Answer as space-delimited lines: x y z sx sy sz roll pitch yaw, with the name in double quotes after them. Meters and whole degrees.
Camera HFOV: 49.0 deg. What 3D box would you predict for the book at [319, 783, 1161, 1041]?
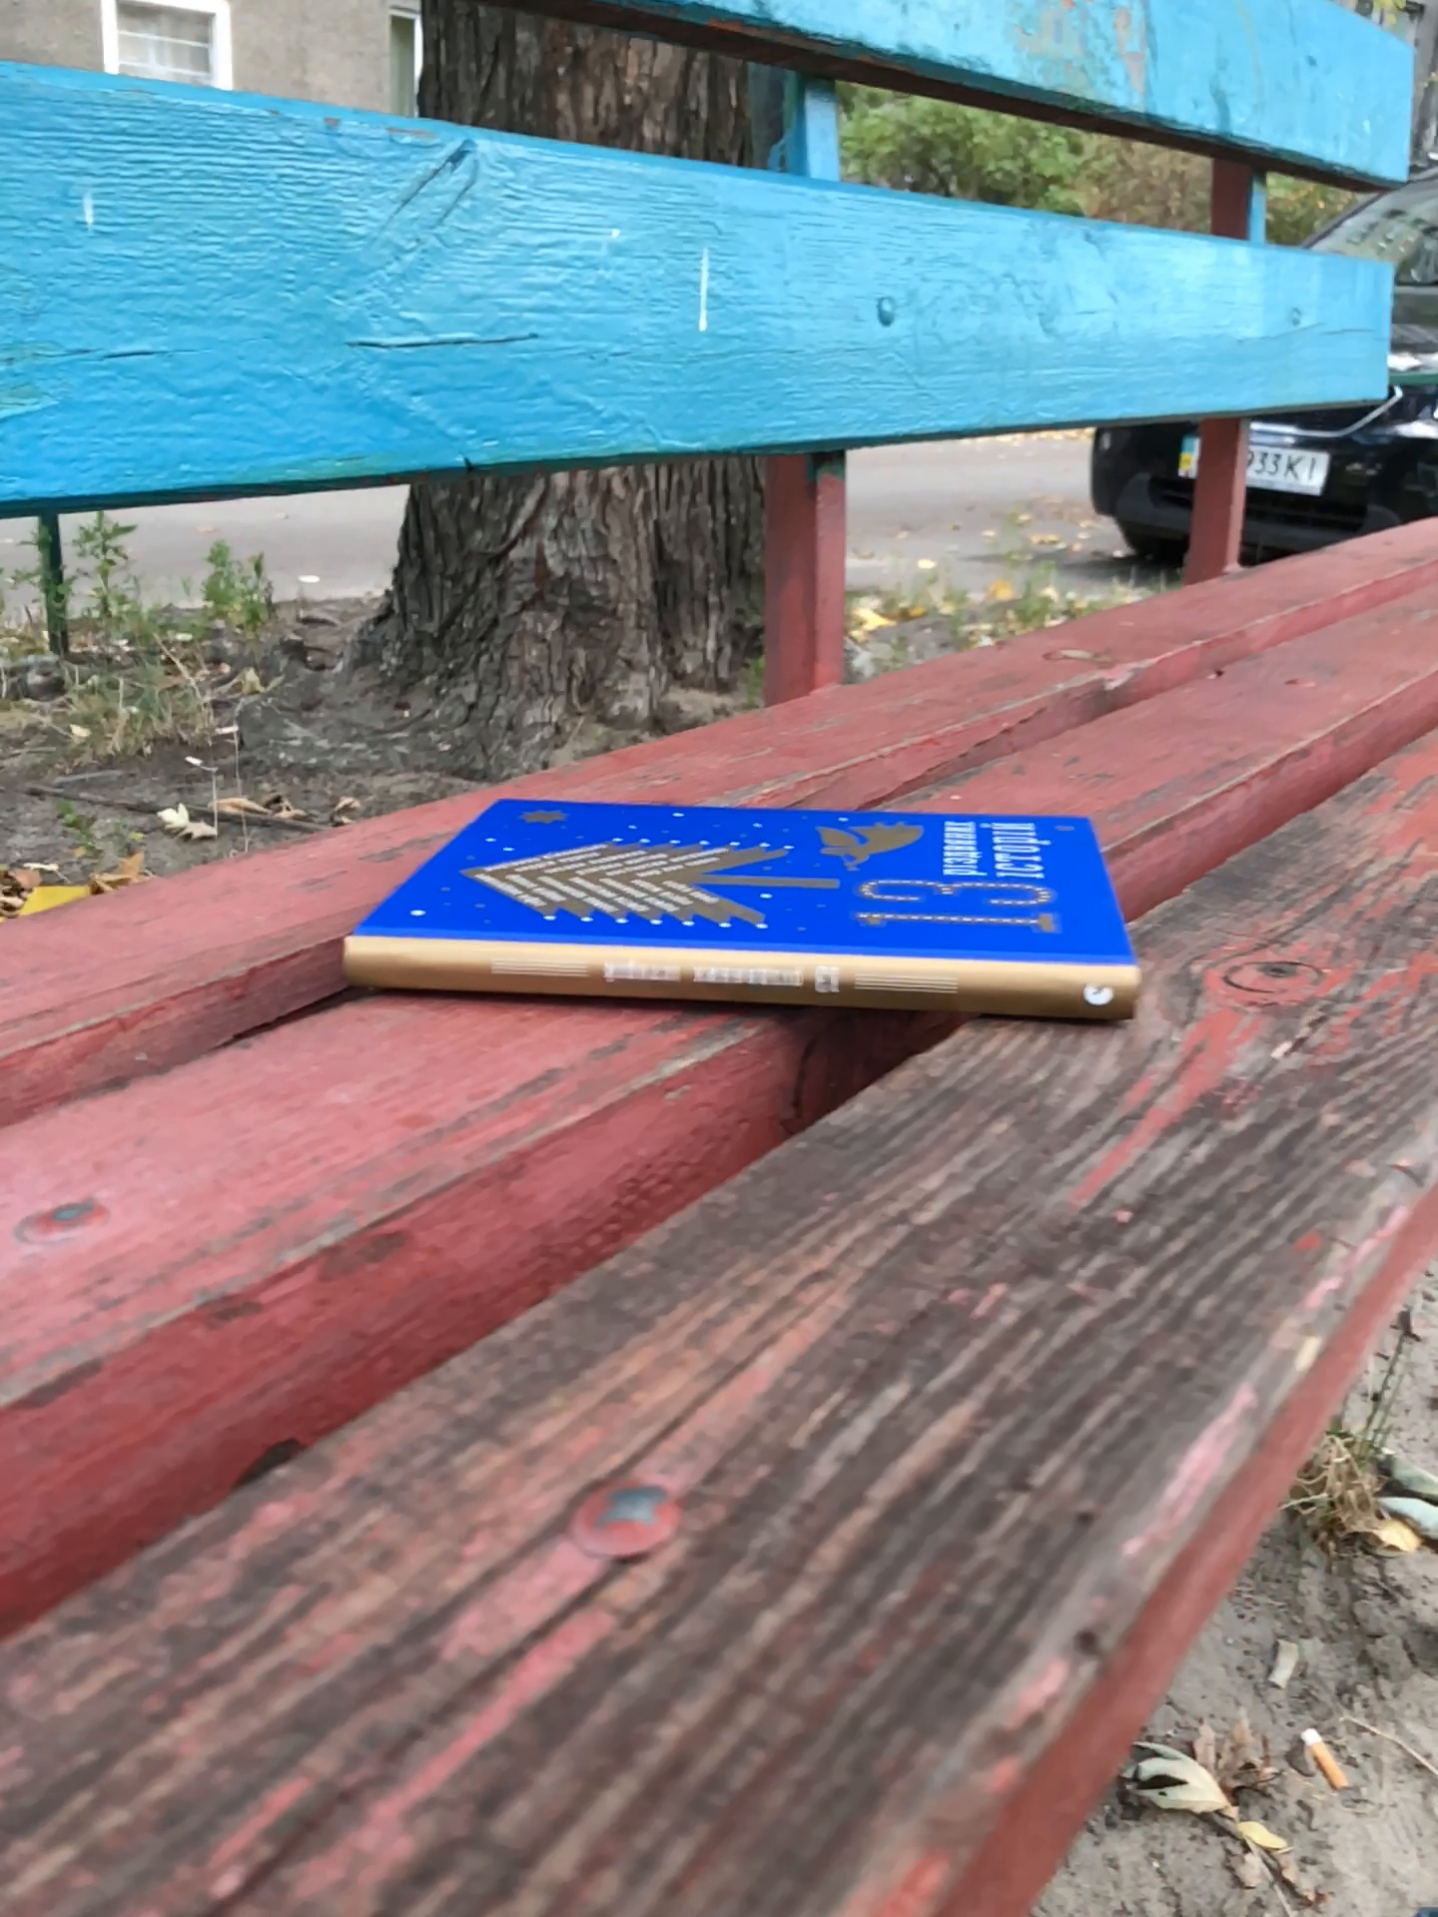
0.011 -0.021 0.470 0.212 0.020 0.156 2 21 6 "book"
